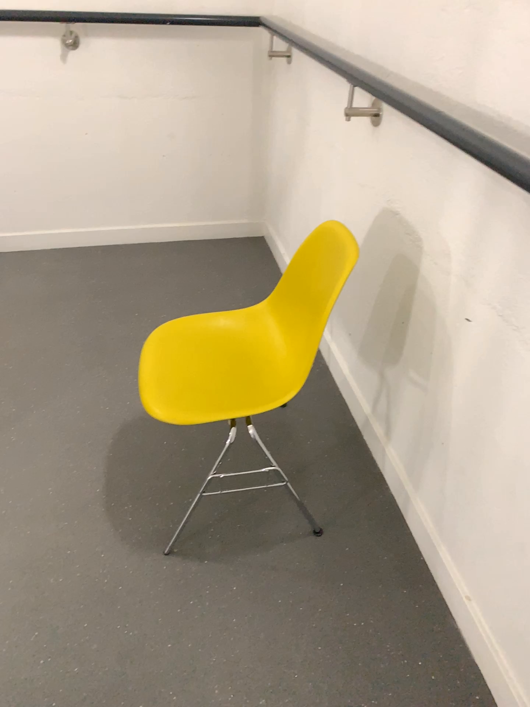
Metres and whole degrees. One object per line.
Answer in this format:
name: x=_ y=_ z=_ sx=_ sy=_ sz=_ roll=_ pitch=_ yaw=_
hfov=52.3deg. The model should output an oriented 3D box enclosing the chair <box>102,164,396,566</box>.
chair: x=-0.099 y=0.010 z=1.465 sx=0.540 sy=0.822 sz=0.636 roll=-5 pitch=37 yaw=-11
